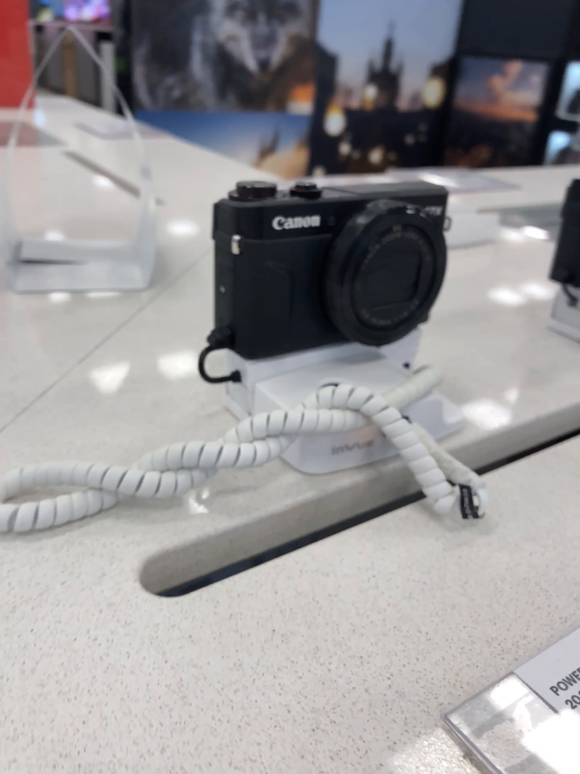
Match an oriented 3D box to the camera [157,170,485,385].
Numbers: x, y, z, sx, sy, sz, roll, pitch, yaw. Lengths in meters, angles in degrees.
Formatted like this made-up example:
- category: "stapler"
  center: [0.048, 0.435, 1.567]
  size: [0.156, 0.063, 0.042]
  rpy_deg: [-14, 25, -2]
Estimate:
- category: "camera"
  center: [0.013, -0.050, 0.266]
  size: [0.120, 0.060, 0.050]
  rpy_deg: [-14, 33, -32]
